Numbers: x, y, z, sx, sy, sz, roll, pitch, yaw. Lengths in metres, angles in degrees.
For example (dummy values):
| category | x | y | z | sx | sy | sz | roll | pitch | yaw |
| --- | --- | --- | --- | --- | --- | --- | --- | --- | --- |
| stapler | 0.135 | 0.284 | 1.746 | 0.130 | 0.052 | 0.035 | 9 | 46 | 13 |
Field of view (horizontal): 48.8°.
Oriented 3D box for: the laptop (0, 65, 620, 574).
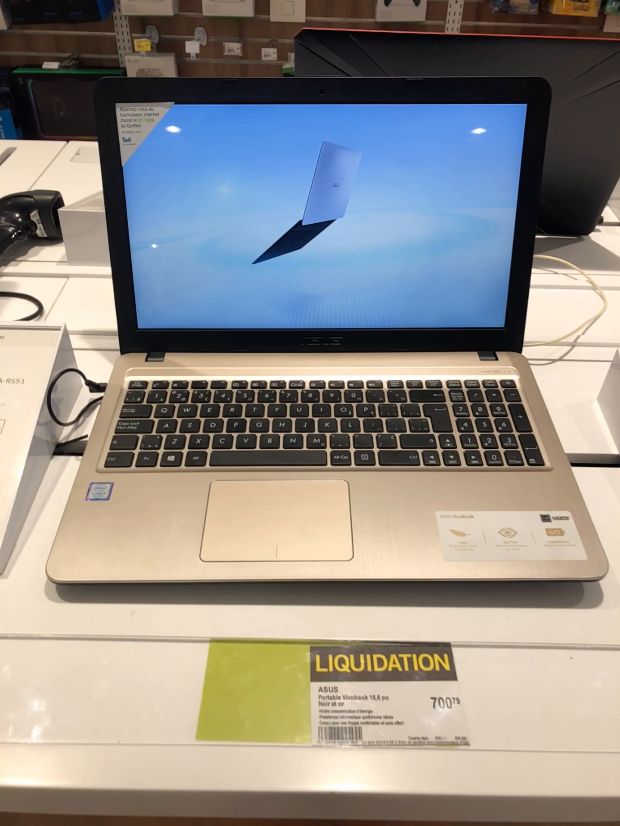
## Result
| category | x | y | z | sx | sy | sz | roll | pitch | yaw |
| --- | --- | --- | --- | --- | --- | --- | --- | --- | --- |
| laptop | 0.012 | -0.090 | 0.519 | 0.370 | 0.204 | 0.339 | 0 | 44 | -1 |
